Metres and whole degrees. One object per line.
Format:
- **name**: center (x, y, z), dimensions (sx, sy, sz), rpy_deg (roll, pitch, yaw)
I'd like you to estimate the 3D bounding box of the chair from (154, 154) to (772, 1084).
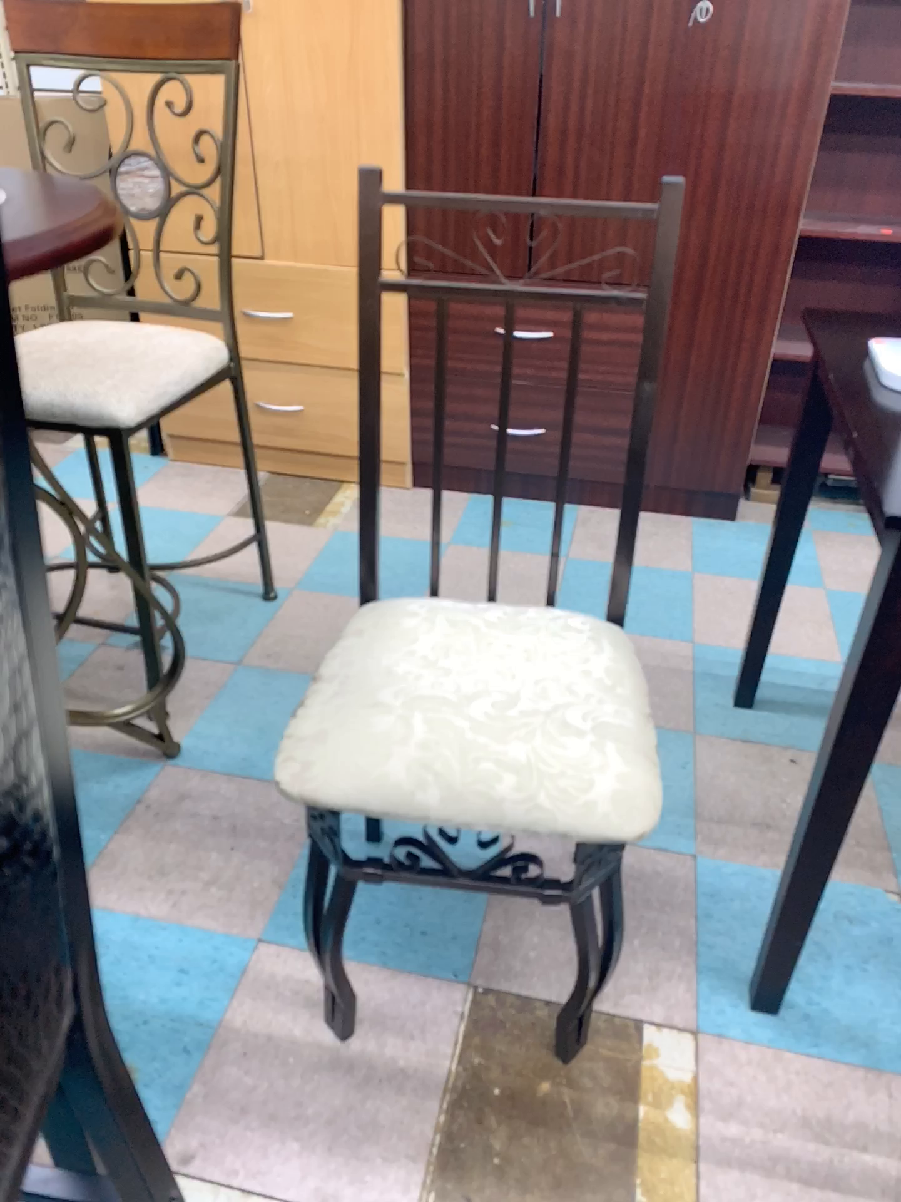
- **chair**: center (0.023, 0.040, 1.059), dimensions (0.415, 0.950, 0.478), rpy_deg (4, 33, 5)
